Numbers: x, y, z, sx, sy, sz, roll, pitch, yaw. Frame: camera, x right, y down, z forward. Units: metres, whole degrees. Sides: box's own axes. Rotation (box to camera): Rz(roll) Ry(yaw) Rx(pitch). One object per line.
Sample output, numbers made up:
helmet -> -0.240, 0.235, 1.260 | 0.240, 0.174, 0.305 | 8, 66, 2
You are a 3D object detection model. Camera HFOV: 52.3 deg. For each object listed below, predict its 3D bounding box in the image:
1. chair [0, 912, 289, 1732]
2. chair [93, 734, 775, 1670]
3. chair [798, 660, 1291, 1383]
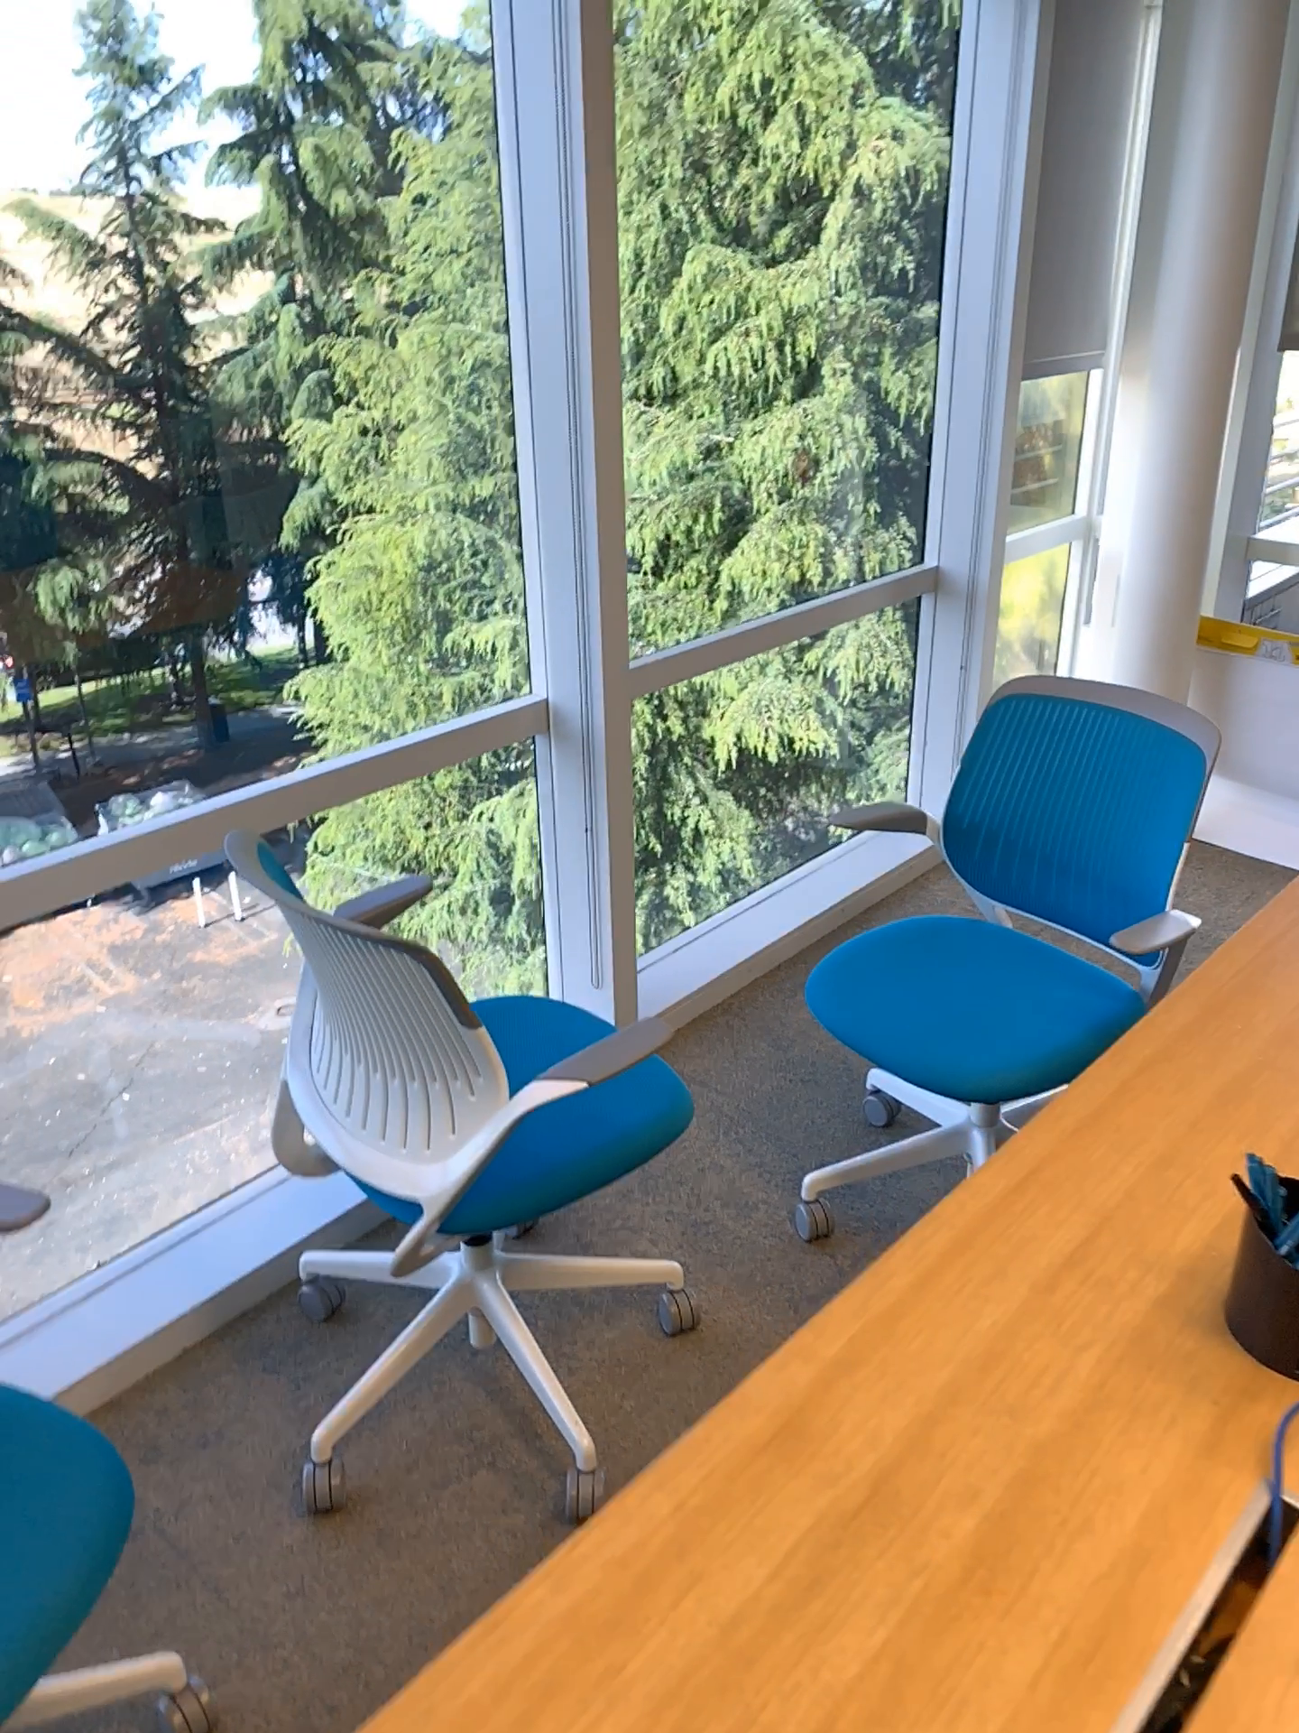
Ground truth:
chair -> -1.086, 0.799, 1.582 | 0.872, 1.134, 0.733 | 11, 27, 25
chair -> -0.273, 0.433, 1.993 | 0.652, 1.014, 0.642 | 18, 30, 35
chair -> 0.716, 0.256, 2.531 | 0.631, 1.094, 0.542 | -21, 32, -38
